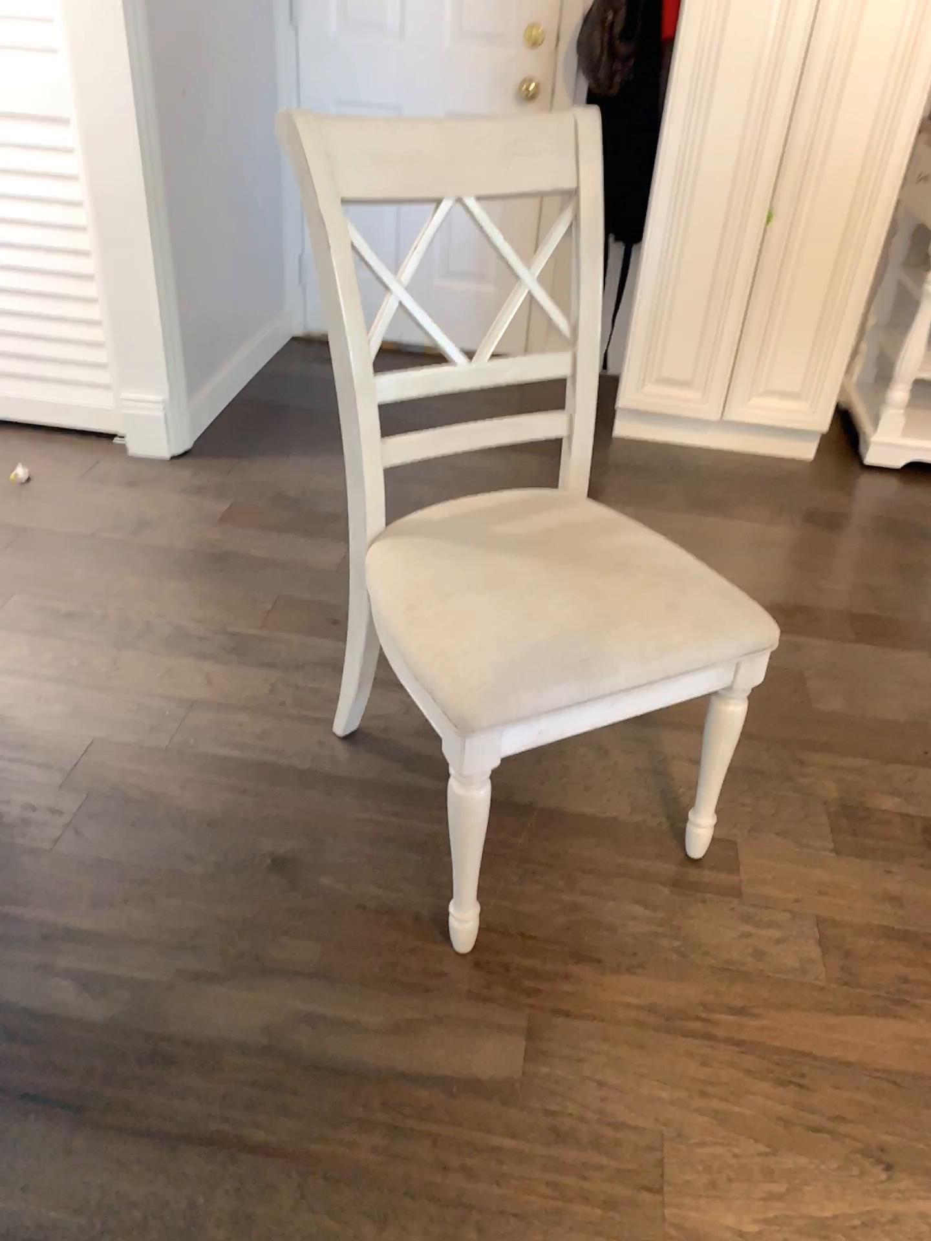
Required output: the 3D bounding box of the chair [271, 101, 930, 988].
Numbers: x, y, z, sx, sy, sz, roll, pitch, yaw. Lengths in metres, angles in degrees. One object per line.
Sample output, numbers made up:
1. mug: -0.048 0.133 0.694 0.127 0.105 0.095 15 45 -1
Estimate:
1. chair: 0.109 -0.138 1.298 0.530 0.924 0.654 -12 38 -23
